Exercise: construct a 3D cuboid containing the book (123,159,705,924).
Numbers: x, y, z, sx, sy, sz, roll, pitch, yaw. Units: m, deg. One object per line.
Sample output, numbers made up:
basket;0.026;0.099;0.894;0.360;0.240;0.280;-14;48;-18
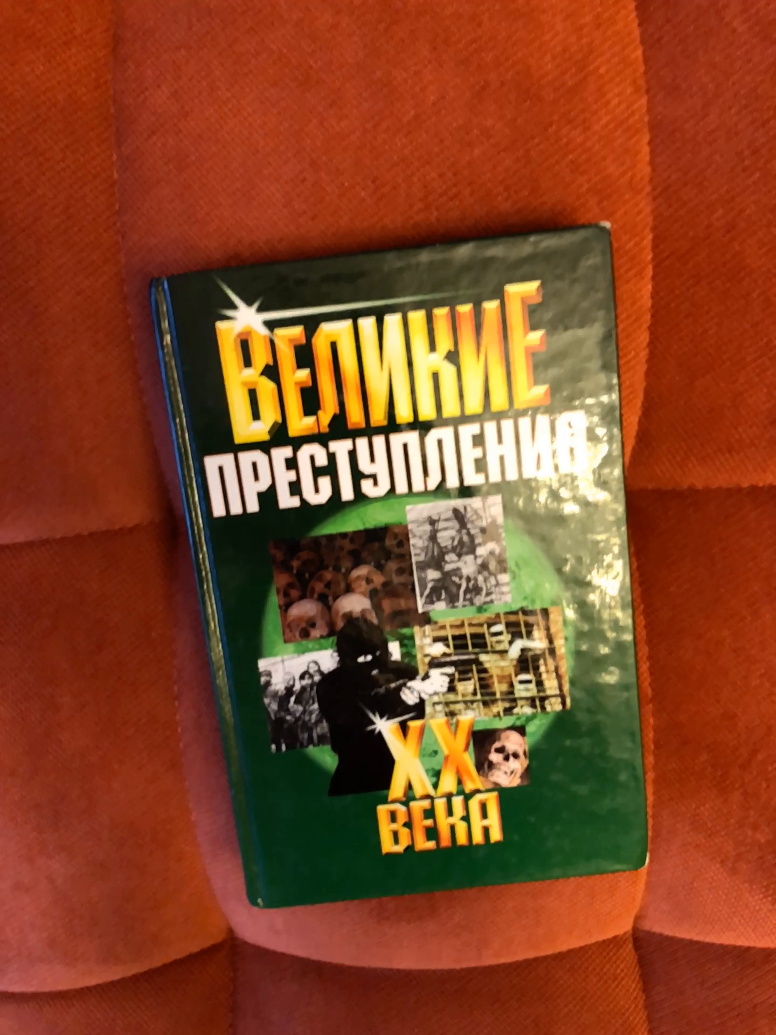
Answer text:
book;0.015;0.015;0.288;0.160;0.040;0.230;-5;101;3
